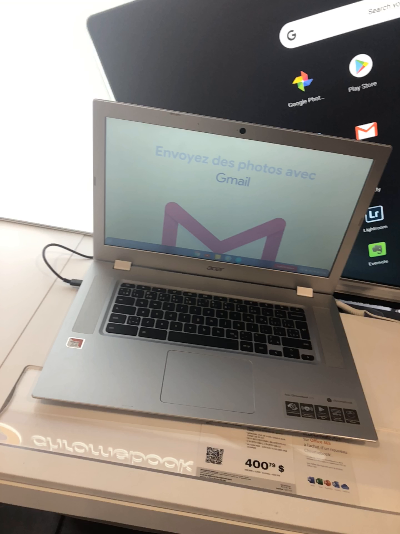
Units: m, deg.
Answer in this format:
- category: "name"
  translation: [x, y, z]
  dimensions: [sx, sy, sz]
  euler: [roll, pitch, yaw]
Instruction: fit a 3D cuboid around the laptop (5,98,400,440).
- category: "laptop"
  translation: [0.031, -0.010, 0.518]
  dimensions: [0.377, 0.250, 0.265]
  euler: [8, 35, -2]
